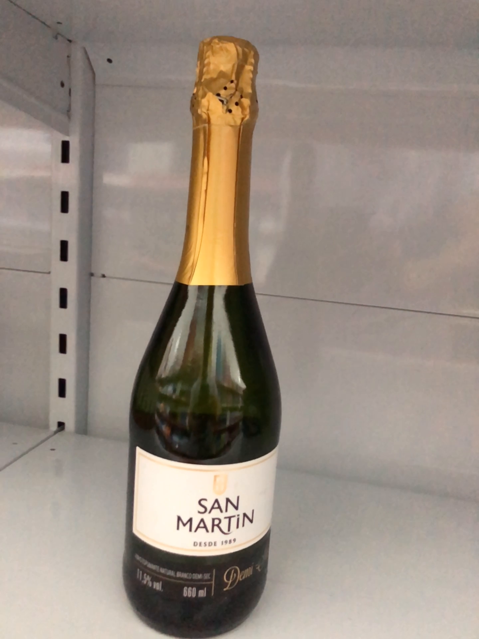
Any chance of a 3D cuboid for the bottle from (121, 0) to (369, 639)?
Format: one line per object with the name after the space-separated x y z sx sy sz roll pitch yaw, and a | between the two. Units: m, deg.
-0.010 0.001 0.276 0.090 0.309 0.080 2 10 -13 | bottle
